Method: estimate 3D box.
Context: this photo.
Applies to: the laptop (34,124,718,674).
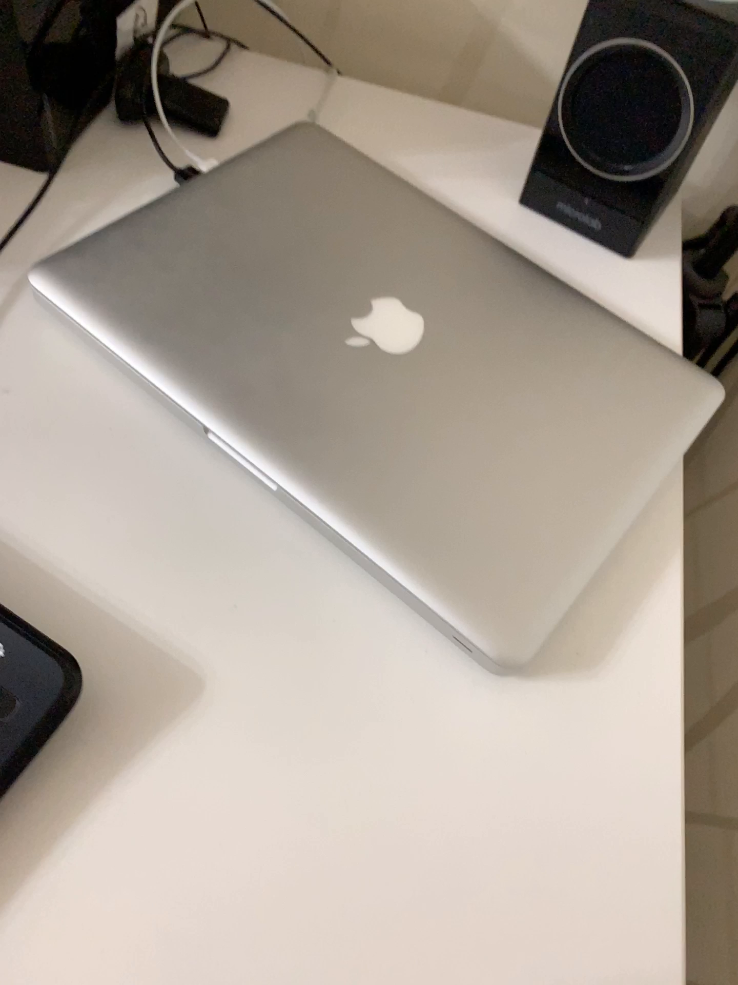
[{"bbox_3d":[0.011,-0.082,0.416,0.305,0.007,0.218,38,60,14],"label":"laptop"}]
